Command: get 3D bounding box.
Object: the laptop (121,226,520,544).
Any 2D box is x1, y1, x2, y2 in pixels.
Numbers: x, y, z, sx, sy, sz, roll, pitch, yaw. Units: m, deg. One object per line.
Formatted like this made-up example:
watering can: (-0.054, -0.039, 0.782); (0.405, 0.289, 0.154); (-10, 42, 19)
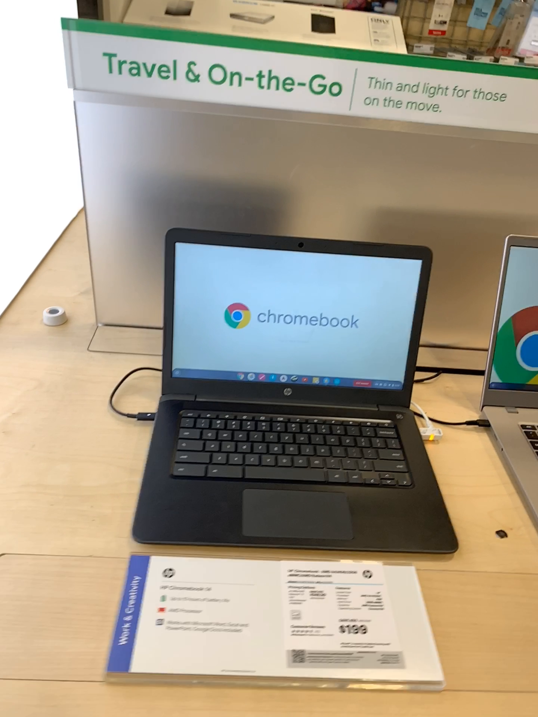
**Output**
laptop: (0.033, 0.014, 0.613); (0.319, 0.198, 0.293); (3, 35, -3)
